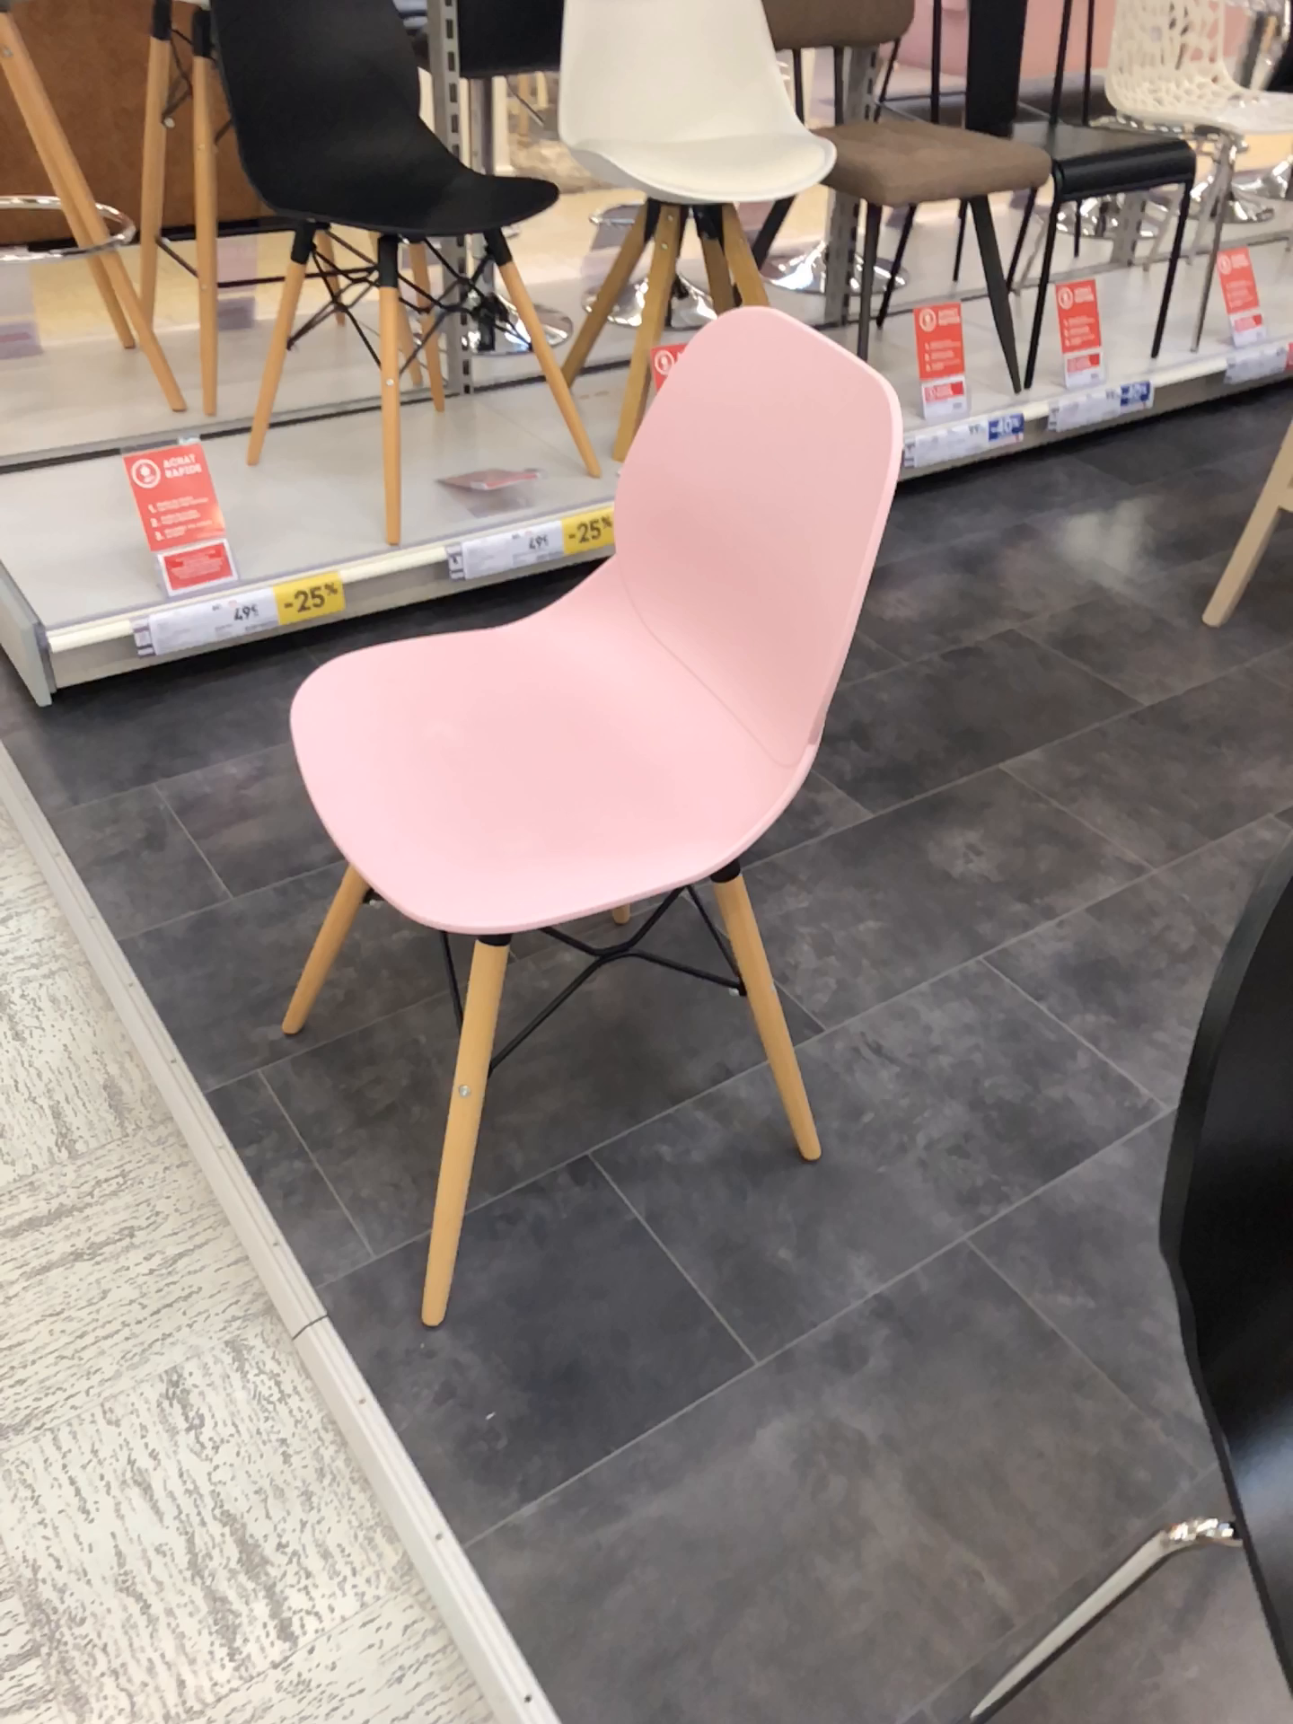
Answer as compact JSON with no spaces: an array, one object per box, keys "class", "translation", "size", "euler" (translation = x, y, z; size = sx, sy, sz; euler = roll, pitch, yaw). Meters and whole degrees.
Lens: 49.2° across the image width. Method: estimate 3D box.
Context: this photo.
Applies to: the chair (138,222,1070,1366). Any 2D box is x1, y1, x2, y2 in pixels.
[{"class":"chair","translation":[-0.077,-0.084,1.382],"size":[0.551,0.846,0.553],"euler":[-17,42,-24]}]
